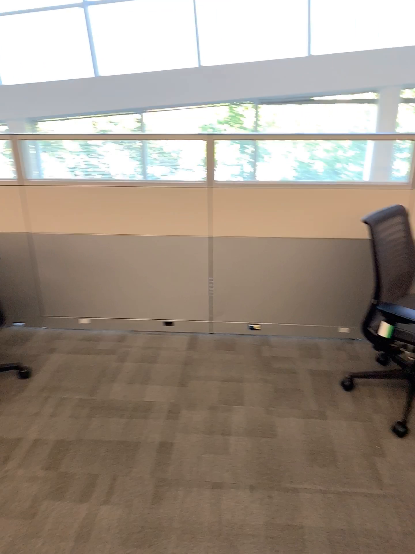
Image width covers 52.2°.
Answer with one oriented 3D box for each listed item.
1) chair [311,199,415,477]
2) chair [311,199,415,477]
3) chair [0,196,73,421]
[{"bbox_3d":[1.169,0.233,2.328,0.803,1.084,0.771,19,30,40],"label":"chair"},{"bbox_3d":[1.169,0.233,2.328,0.803,1.084,0.771,19,30,40],"label":"chair"},{"bbox_3d":[-1.574,0.154,2.972,0.762,1.233,0.752,12,25,28],"label":"chair"}]
